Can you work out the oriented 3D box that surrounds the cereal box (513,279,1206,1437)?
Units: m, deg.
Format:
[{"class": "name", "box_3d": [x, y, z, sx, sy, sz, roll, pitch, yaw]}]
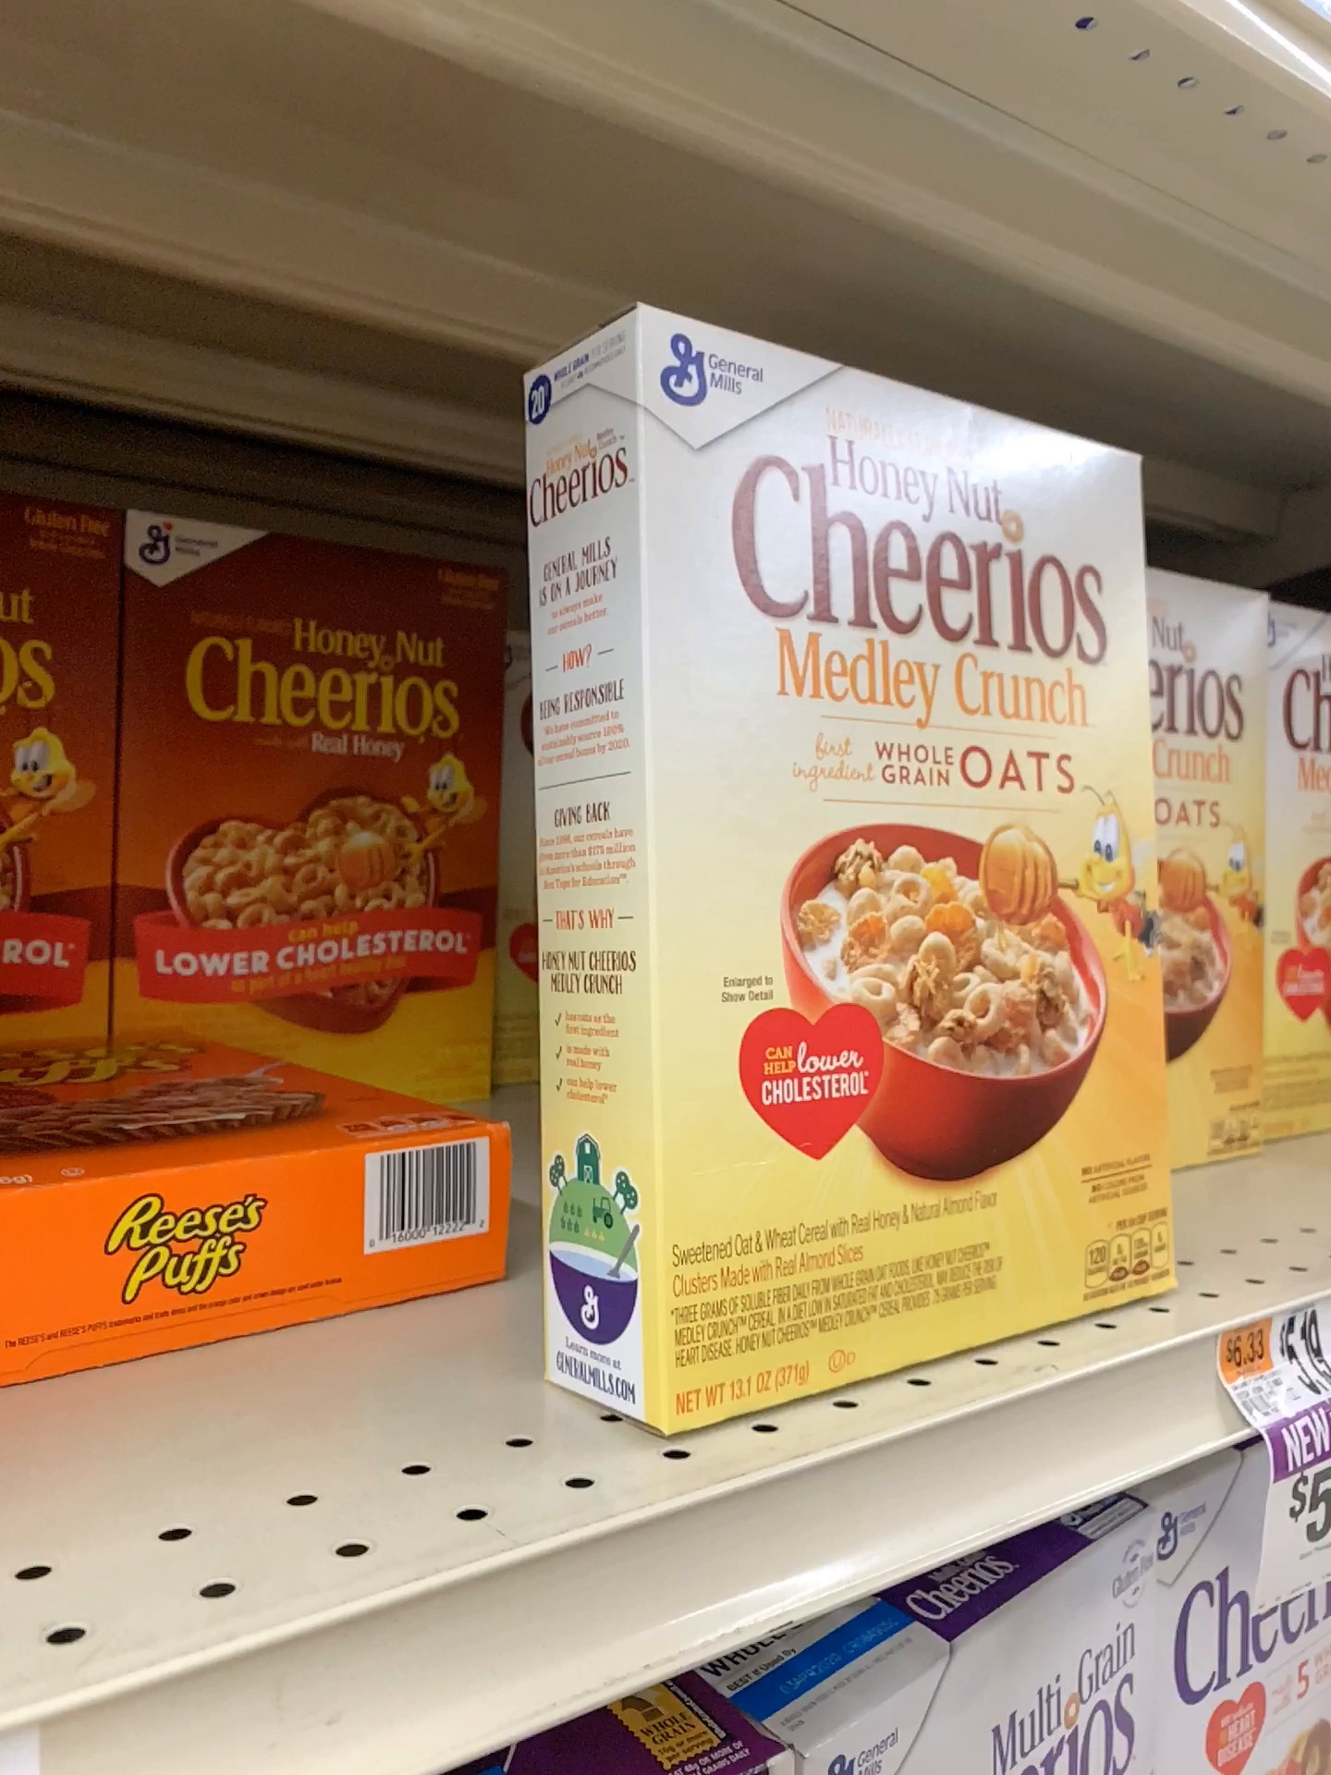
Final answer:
[{"class": "cereal box", "box_3d": [0.059, -0.008, 0.376, 0.190, 0.250, 0.060, 0, -3, -36]}]
